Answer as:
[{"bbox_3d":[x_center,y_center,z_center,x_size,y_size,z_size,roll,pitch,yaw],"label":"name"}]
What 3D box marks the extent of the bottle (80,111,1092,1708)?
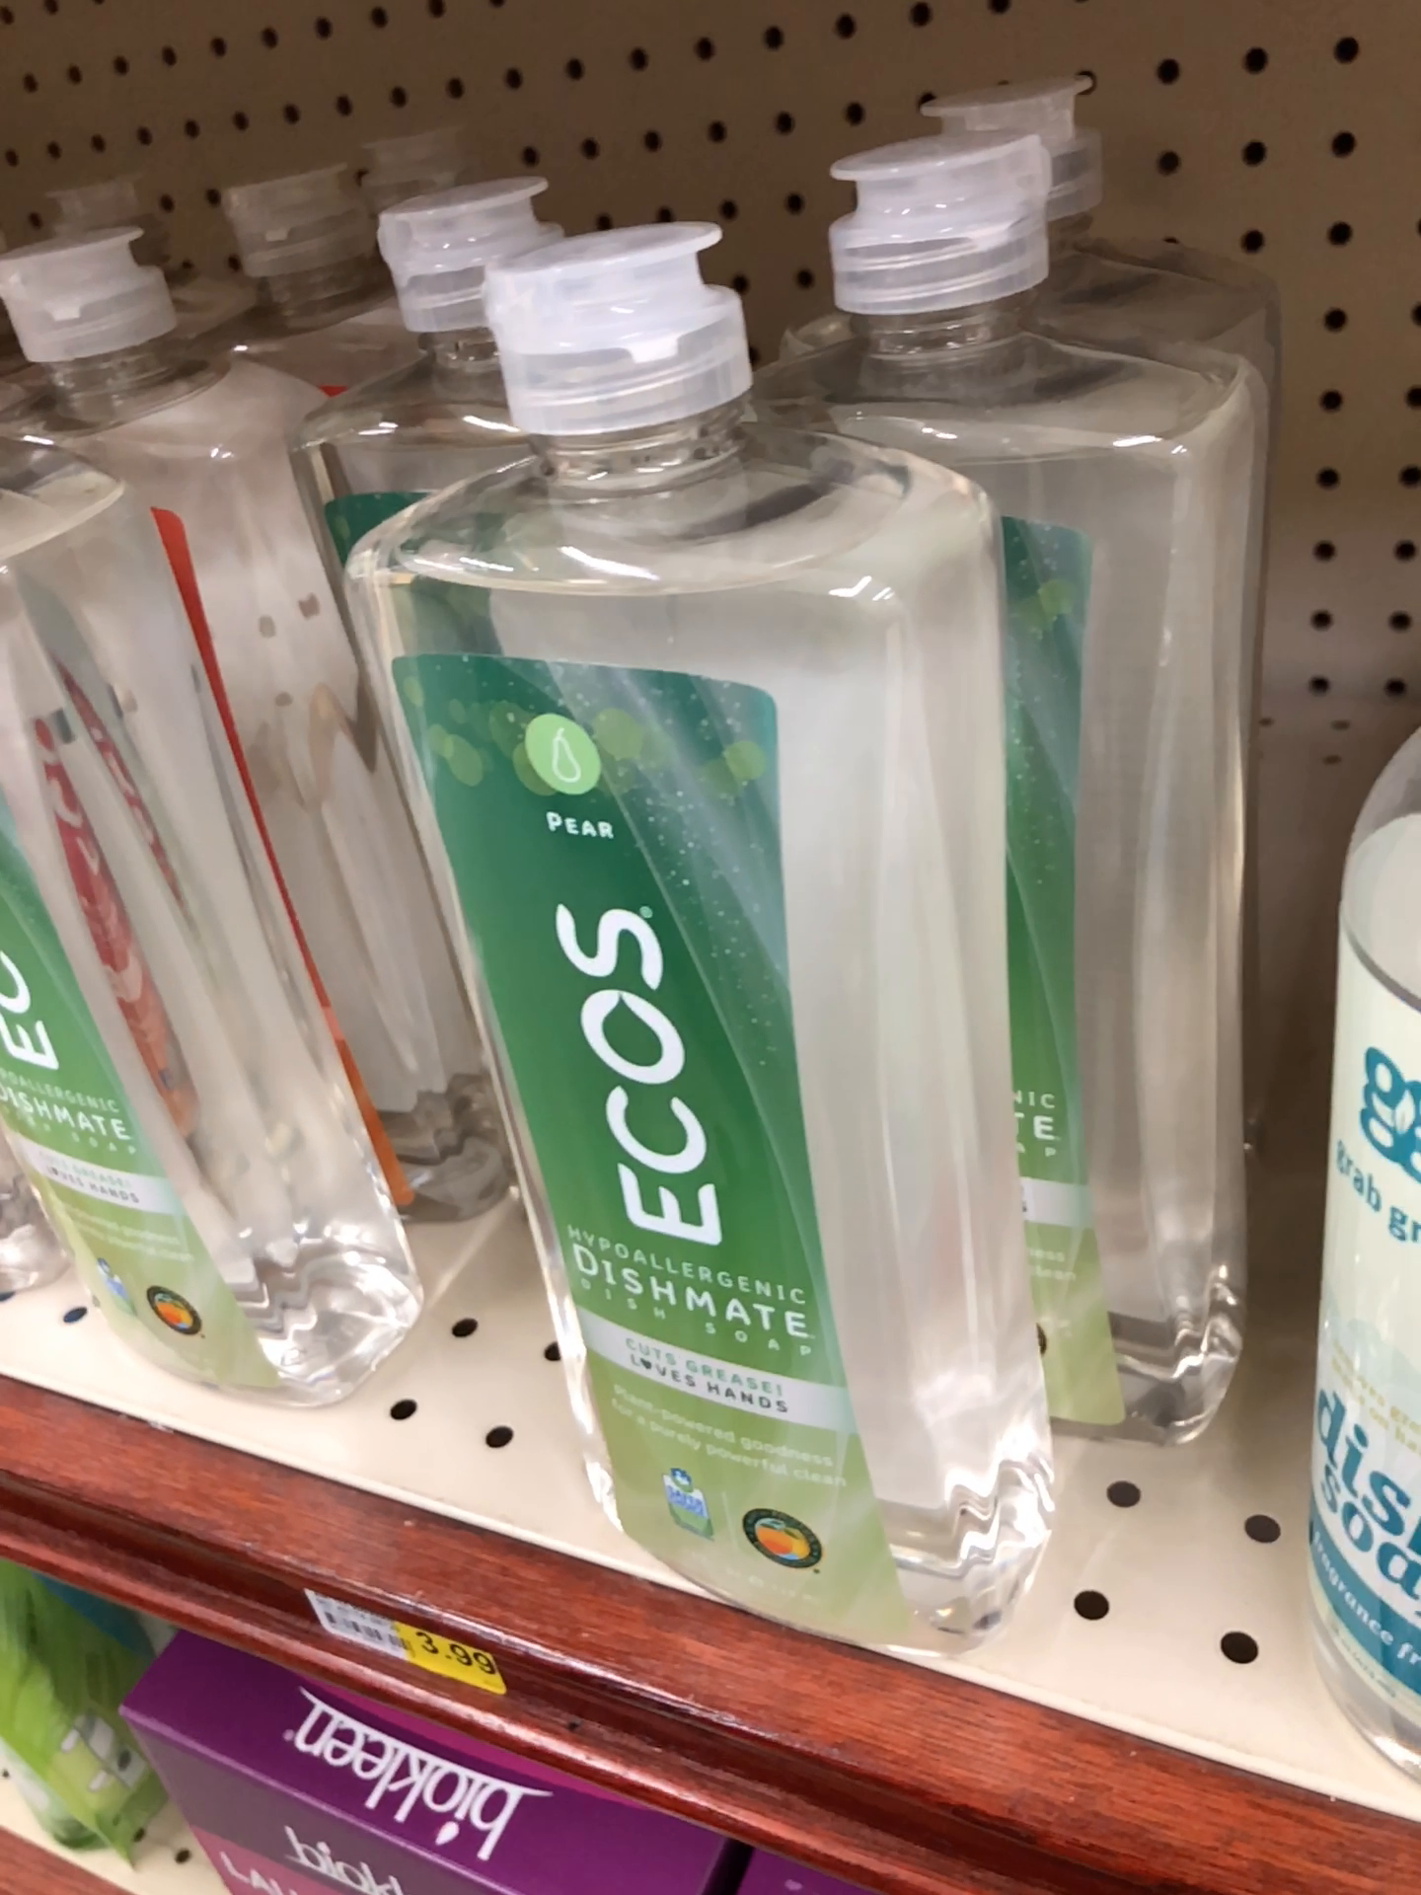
[{"bbox_3d":[-0.001,0.011,0.237,0.092,0.226,0.050,10,39,29],"label":"bottle"}]
